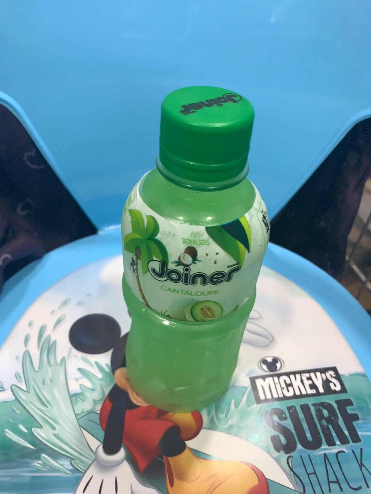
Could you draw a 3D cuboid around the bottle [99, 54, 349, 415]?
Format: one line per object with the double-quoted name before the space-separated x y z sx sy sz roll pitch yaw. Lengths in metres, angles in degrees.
"bottle" 0.006 0.005 0.161 0.060 0.139 0.060 2 39 -2
